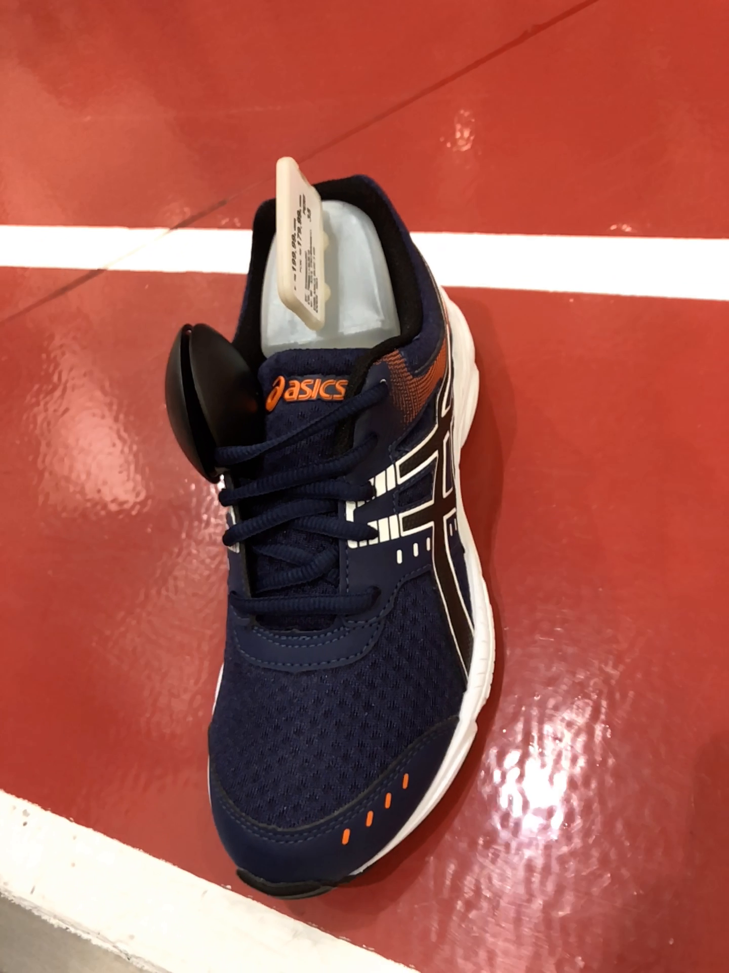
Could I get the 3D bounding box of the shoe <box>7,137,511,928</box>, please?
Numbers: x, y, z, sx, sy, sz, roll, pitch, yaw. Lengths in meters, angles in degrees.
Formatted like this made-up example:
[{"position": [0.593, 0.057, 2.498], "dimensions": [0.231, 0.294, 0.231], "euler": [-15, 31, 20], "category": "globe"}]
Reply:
[{"position": [-0.011, 0.009, 0.284], "dimensions": [0.100, 0.100, 0.241], "euler": [-3, 59, 19], "category": "shoe"}]
